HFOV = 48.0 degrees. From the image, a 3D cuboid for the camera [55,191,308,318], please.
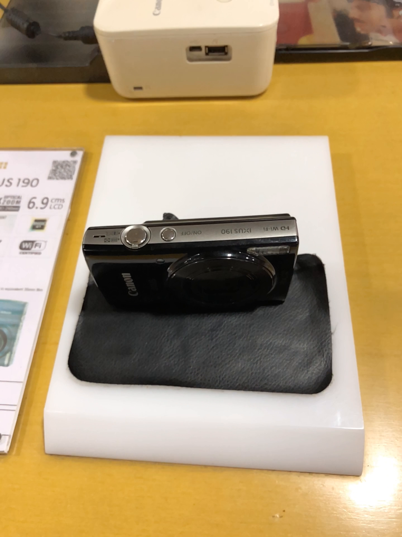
[{"bbox_3d":[-0.007,-0.004,0.207,0.100,0.050,0.030,-4,59,1],"label":"camera"}]
